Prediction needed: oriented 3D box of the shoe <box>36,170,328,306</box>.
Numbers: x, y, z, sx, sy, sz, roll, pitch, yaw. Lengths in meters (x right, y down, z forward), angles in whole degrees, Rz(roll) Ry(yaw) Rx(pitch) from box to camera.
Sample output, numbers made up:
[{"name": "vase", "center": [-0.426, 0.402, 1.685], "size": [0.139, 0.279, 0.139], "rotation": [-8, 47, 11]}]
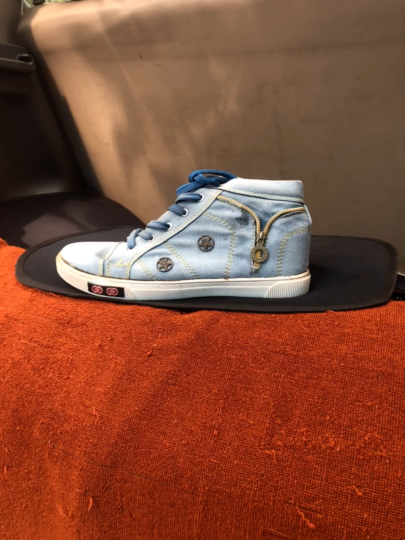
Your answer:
[{"name": "shoe", "center": [-0.016, -0.040, 0.463], "size": [0.260, 0.110, 0.110], "rotation": [2, 19, 7]}]
